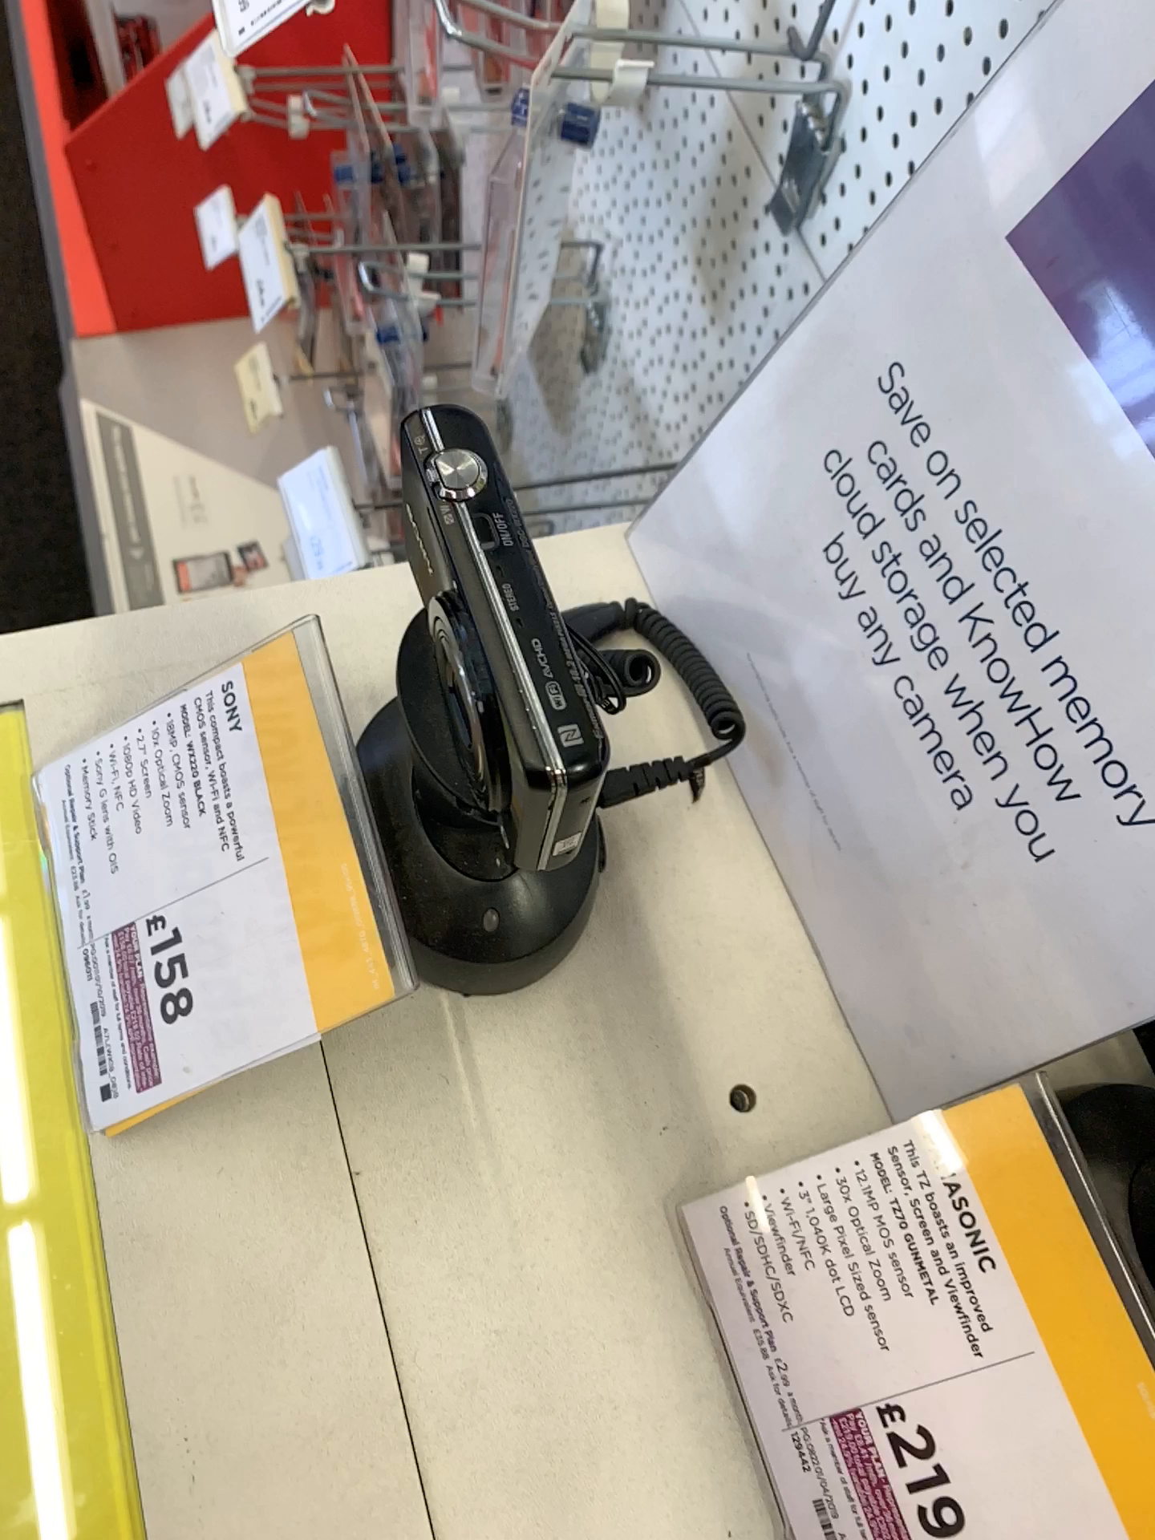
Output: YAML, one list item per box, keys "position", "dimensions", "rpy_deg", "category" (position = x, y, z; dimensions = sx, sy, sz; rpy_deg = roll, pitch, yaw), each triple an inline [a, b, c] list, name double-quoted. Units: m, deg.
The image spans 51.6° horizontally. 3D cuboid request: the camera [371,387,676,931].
- position: [-0.015, -0.024, 0.254]
  dimensions: [0.030, 0.050, 0.100]
  rpy_deg: [-14, 67, -14]
  category: "camera"
